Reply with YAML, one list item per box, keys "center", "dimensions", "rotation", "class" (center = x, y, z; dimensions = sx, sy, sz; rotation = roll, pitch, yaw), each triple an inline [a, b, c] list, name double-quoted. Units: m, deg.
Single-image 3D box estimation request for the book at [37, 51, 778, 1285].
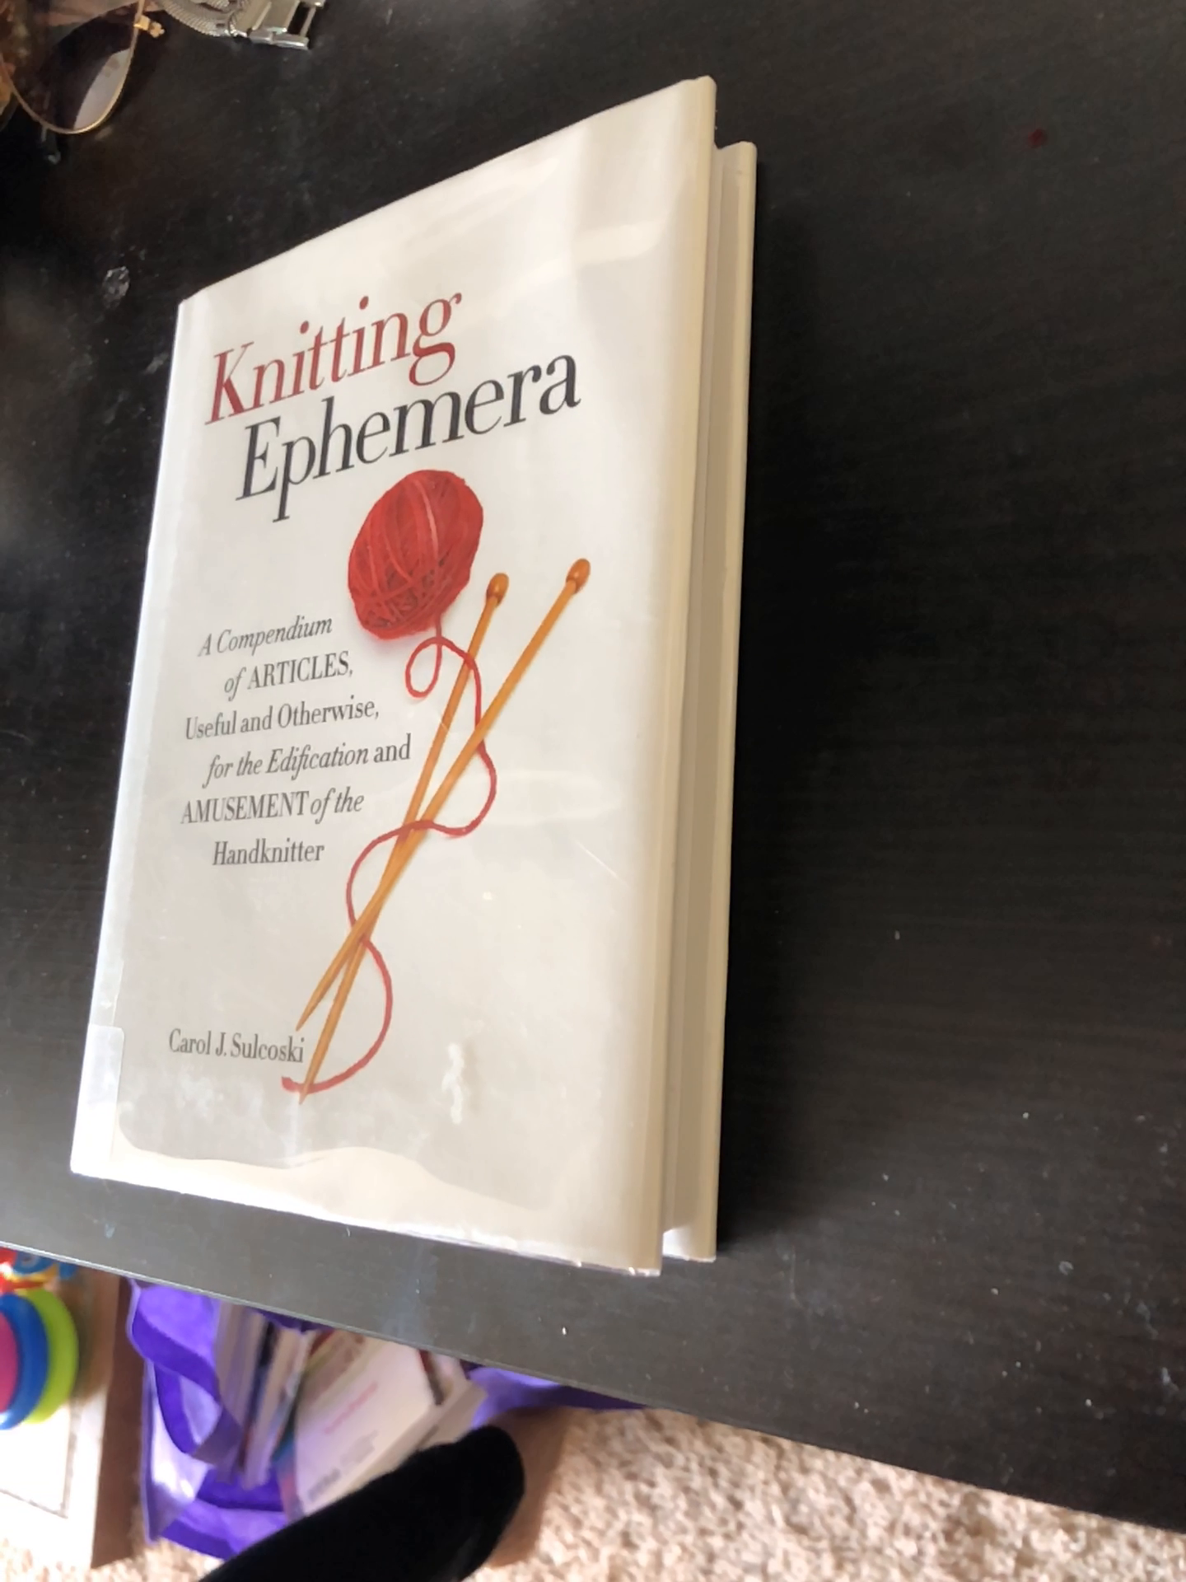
- center: [-0.036, -0.018, 0.234]
  dimensions: [0.133, 0.029, 0.178]
  rotation: [-4, 78, 35]
  class: "book"
